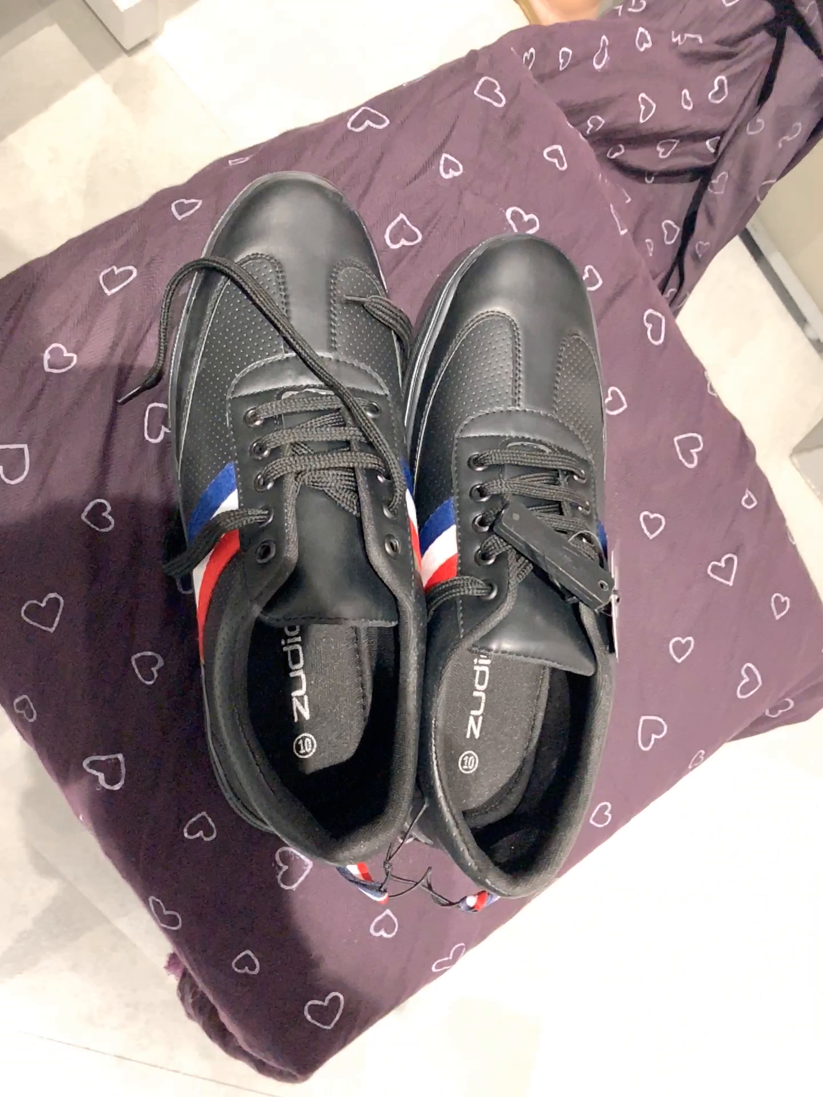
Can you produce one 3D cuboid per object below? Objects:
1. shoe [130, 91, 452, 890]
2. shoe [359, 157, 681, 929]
[{"bbox_3d":[-0.059,-0.025,0.385,0.120,0.090,0.310,-2,87,-16],"label":"shoe"},{"bbox_3d":[0.046,-0.001,0.379,0.110,0.080,0.300,4,86,-15],"label":"shoe"}]
